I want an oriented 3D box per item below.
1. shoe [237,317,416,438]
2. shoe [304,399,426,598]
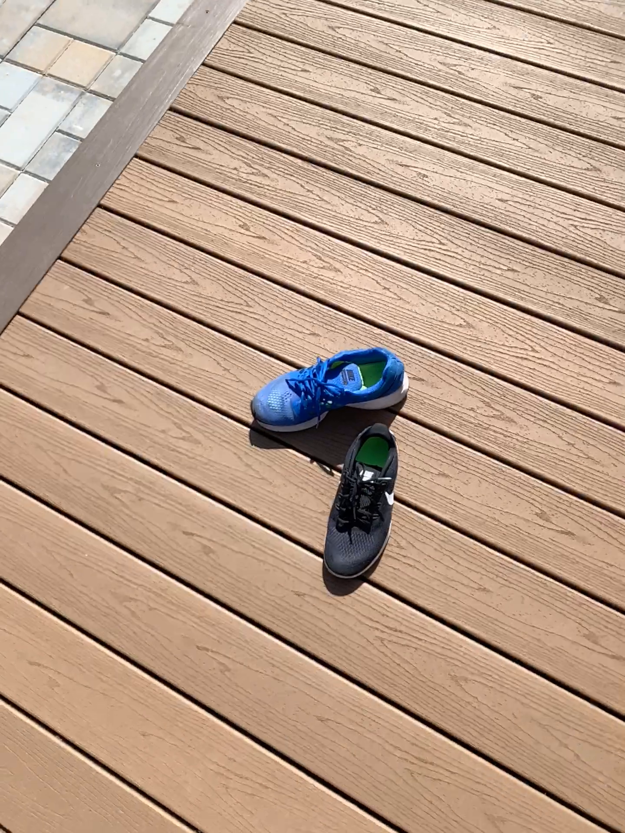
[{"bbox_3d":[0.027,-0.067,1.146,0.290,0.130,0.120,-12,68,0],"label":"shoe"},{"bbox_3d":[0.091,0.135,1.048,0.120,0.110,0.290,14,71,10],"label":"shoe"}]
